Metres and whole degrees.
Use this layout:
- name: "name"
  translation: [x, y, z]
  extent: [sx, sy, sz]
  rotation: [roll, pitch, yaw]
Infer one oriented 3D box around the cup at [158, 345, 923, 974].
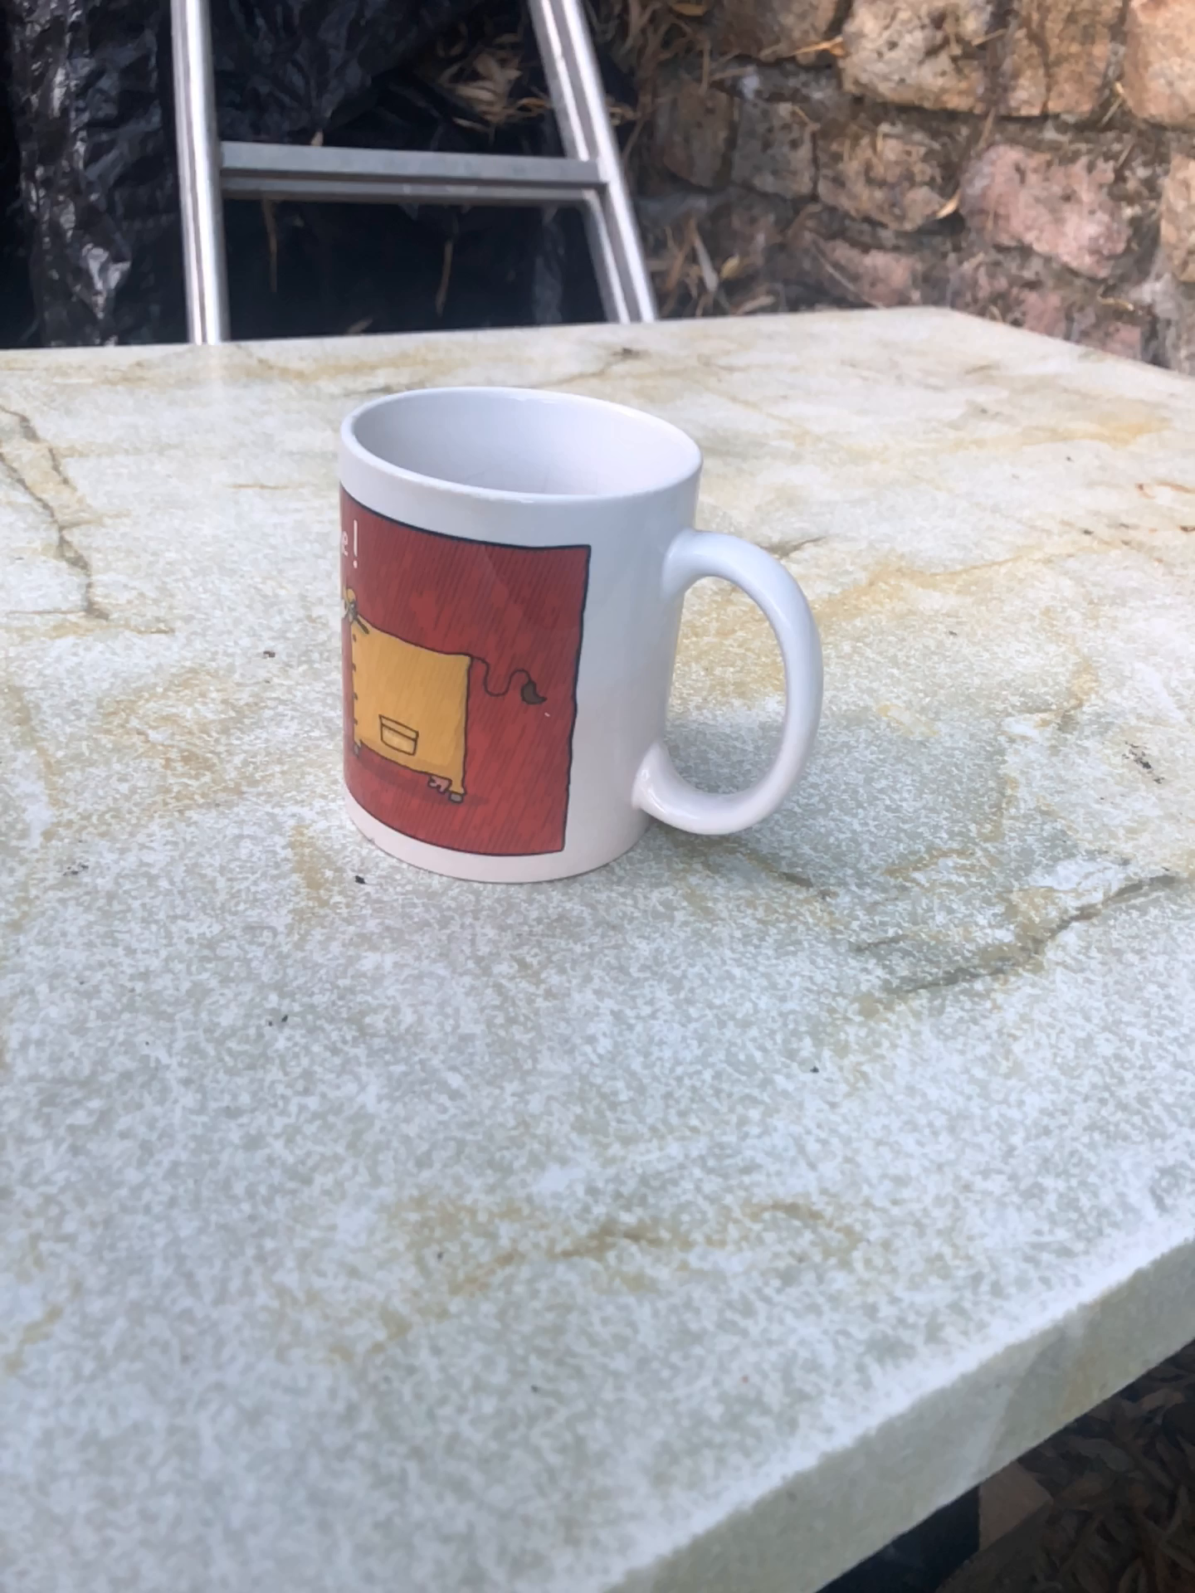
- name: "cup"
  translation: [-0.010, -0.038, 0.287]
  extent: [0.129, 0.083, 0.087]
  rotation: [16, 33, 19]
